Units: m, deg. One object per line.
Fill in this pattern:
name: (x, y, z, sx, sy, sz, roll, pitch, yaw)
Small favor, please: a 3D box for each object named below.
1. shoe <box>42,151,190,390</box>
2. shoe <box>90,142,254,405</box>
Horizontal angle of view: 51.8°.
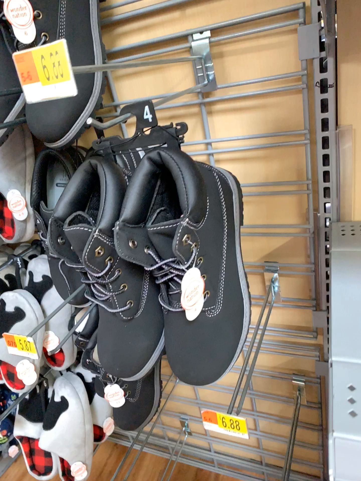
shoe: (-0.062, 0.020, 0.412, 0.100, 0.229, 0.110, 4, 13, 26)
shoe: (0.002, 0.018, 0.355, 0.100, 0.206, 0.120, 2, 12, 27)
